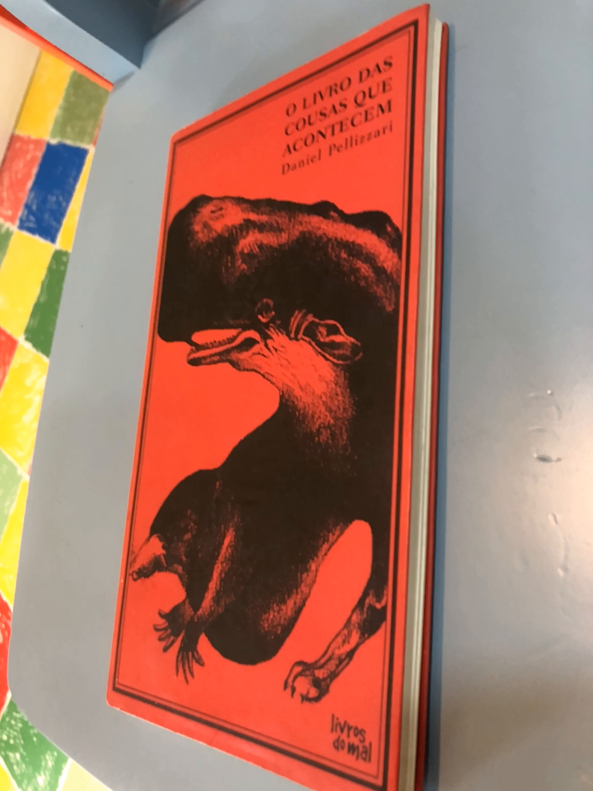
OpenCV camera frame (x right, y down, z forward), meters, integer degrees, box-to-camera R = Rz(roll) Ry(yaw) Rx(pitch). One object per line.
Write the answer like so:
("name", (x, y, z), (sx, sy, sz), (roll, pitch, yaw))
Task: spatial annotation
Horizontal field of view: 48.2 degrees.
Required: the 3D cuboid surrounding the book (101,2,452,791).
("book", (-0.009, -0.002, 0.200), (0.110, 0.016, 0.200), (-6, 75, 41))
